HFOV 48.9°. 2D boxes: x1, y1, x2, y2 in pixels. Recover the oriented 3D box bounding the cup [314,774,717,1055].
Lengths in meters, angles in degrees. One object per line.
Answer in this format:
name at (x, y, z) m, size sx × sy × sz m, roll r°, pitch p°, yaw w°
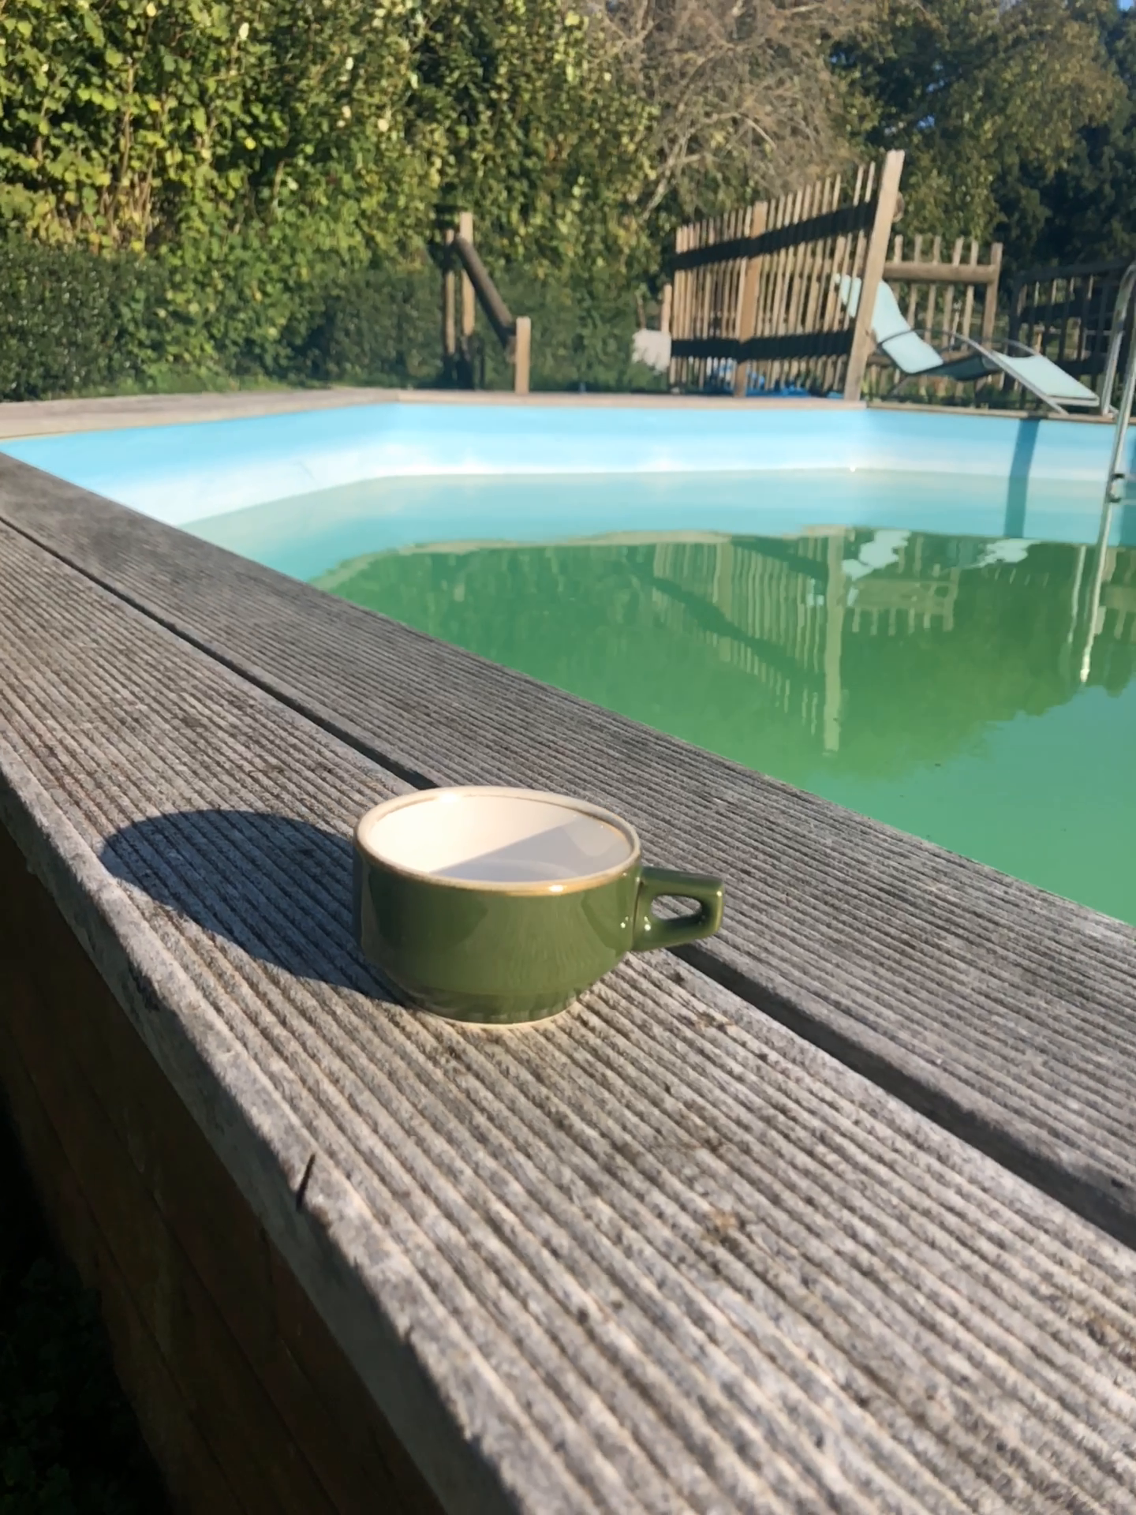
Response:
cup at (-0.009, 0.038, 0.337) m, size 0.095 × 0.038 × 0.083 m, roll 4°, pitch 16°, yaw 6°
